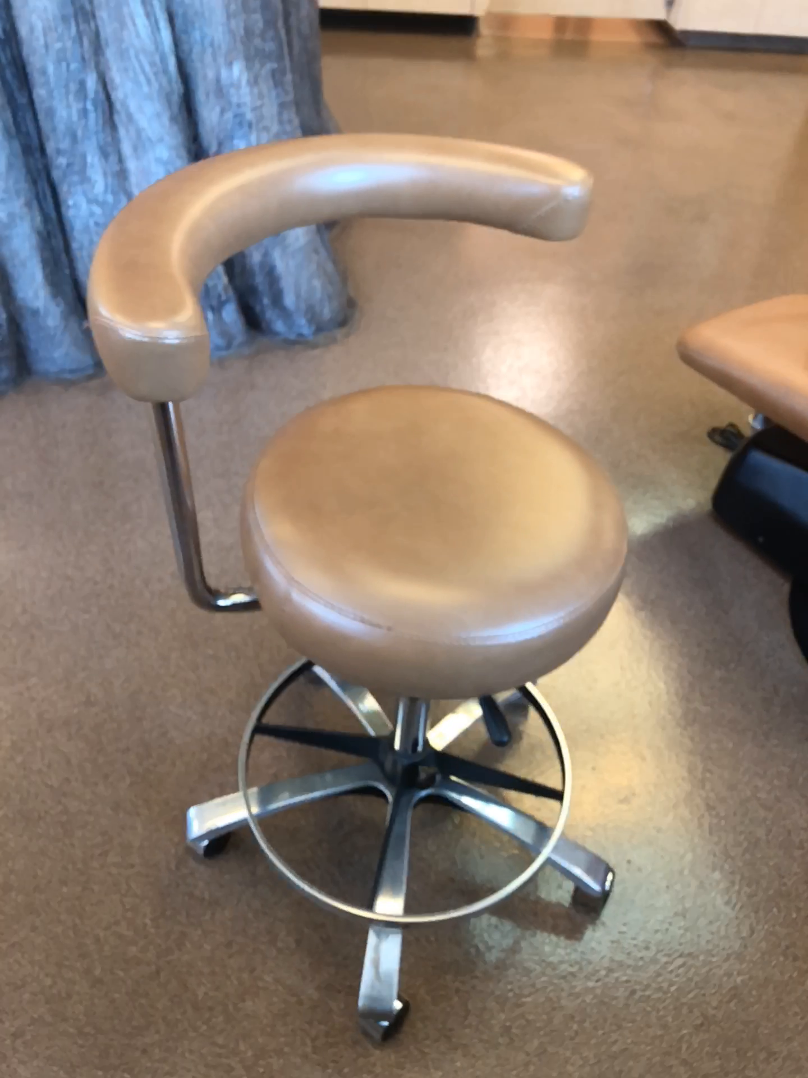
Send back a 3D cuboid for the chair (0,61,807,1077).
[{"bbox_3d":[0.020,0.056,0.949,0.611,0.805,0.592,-30,53,-32],"label":"chair"}]
